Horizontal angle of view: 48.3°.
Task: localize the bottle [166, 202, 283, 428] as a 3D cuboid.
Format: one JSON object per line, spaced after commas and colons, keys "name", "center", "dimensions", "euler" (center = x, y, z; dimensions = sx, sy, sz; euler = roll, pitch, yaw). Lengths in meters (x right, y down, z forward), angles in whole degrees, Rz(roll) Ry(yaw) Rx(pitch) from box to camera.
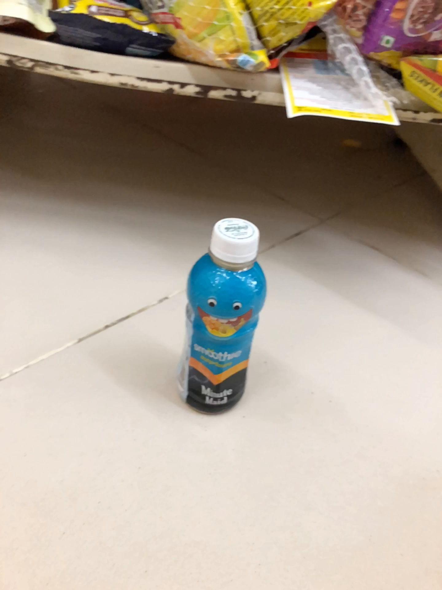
{"name": "bottle", "center": [-0.005, 0.021, 0.360], "dimensions": [0.060, 0.159, 0.060], "euler": [6, 36, -4]}
